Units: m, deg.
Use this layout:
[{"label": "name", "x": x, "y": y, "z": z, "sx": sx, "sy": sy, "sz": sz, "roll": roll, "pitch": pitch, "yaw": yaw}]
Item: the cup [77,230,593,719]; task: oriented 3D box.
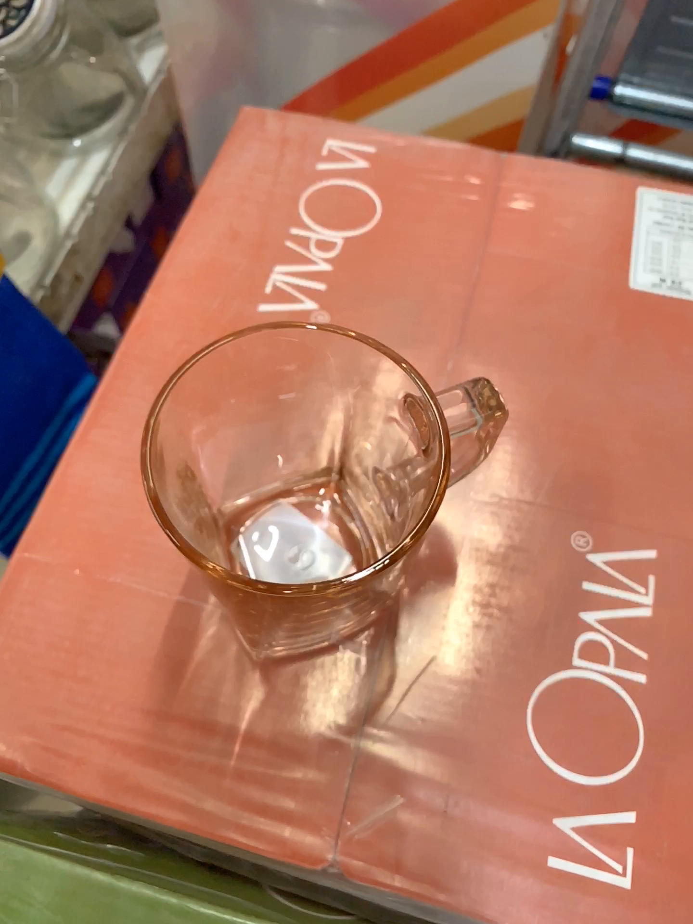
[{"label": "cup", "x": -0.006, "y": 0.011, "z": 0.223, "sx": 0.100, "sy": 0.110, "sz": 0.080, "roll": -21, "pitch": 65, "yaw": -11}]
